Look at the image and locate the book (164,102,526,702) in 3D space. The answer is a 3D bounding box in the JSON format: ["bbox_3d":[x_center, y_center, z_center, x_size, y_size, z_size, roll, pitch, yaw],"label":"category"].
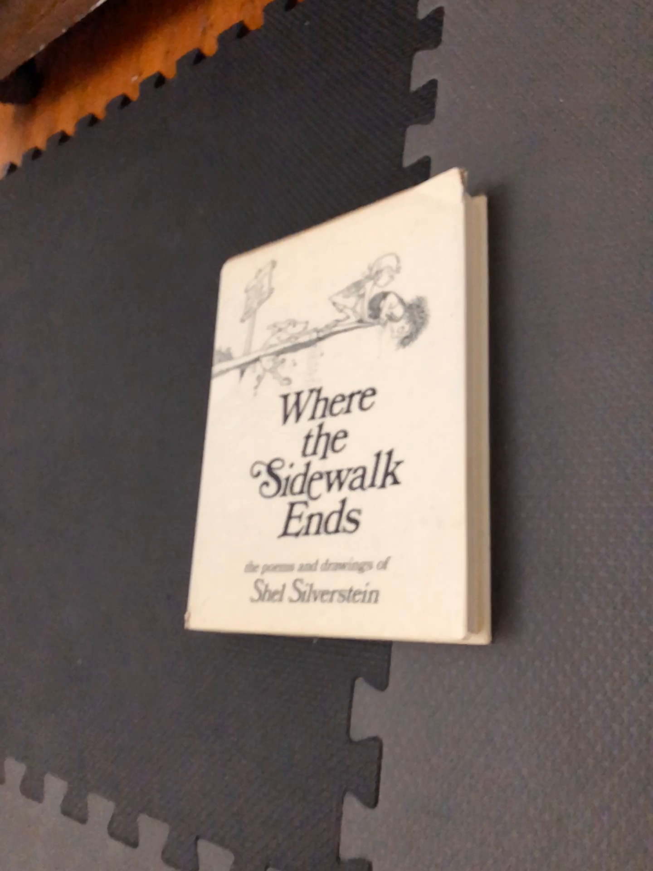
[{"bbox_3d":[0.007,-0.015,0.396,0.201,0.030,0.280,-9,69,38],"label":"book"}]
